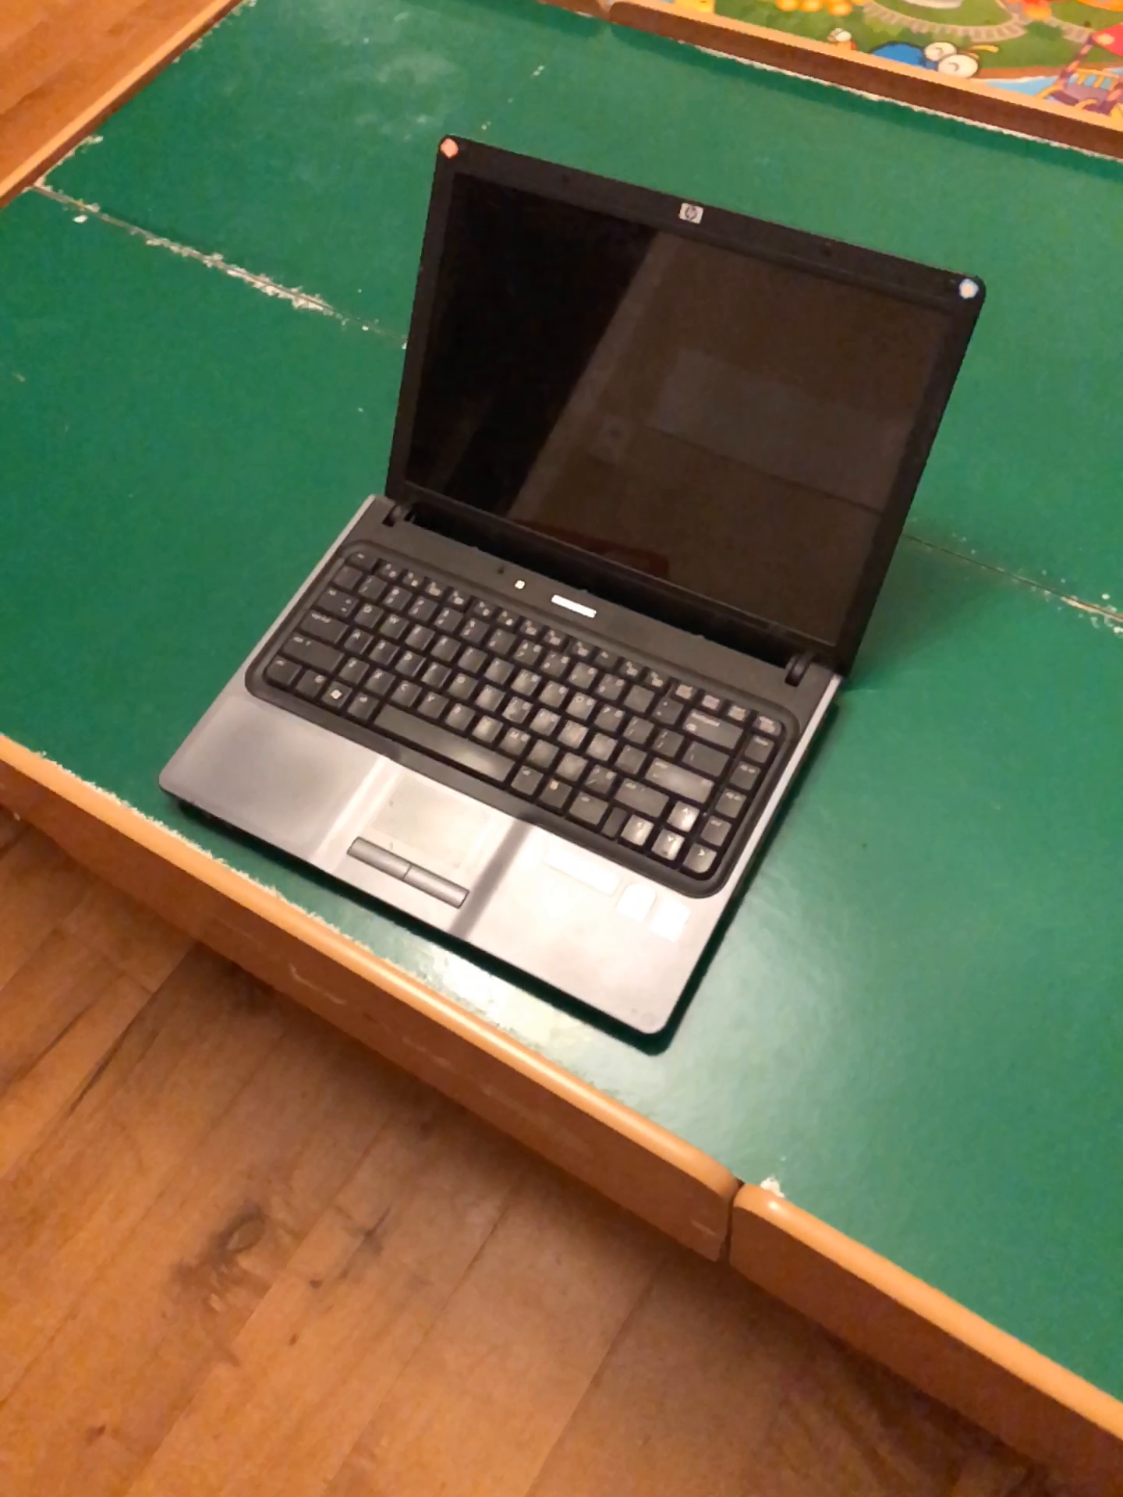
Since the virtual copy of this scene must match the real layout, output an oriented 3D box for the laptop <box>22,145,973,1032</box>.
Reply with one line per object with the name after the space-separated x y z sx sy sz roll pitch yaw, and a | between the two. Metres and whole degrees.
-0.014 -0.106 0.676 0.323 0.172 0.374 24 66 18 | laptop
